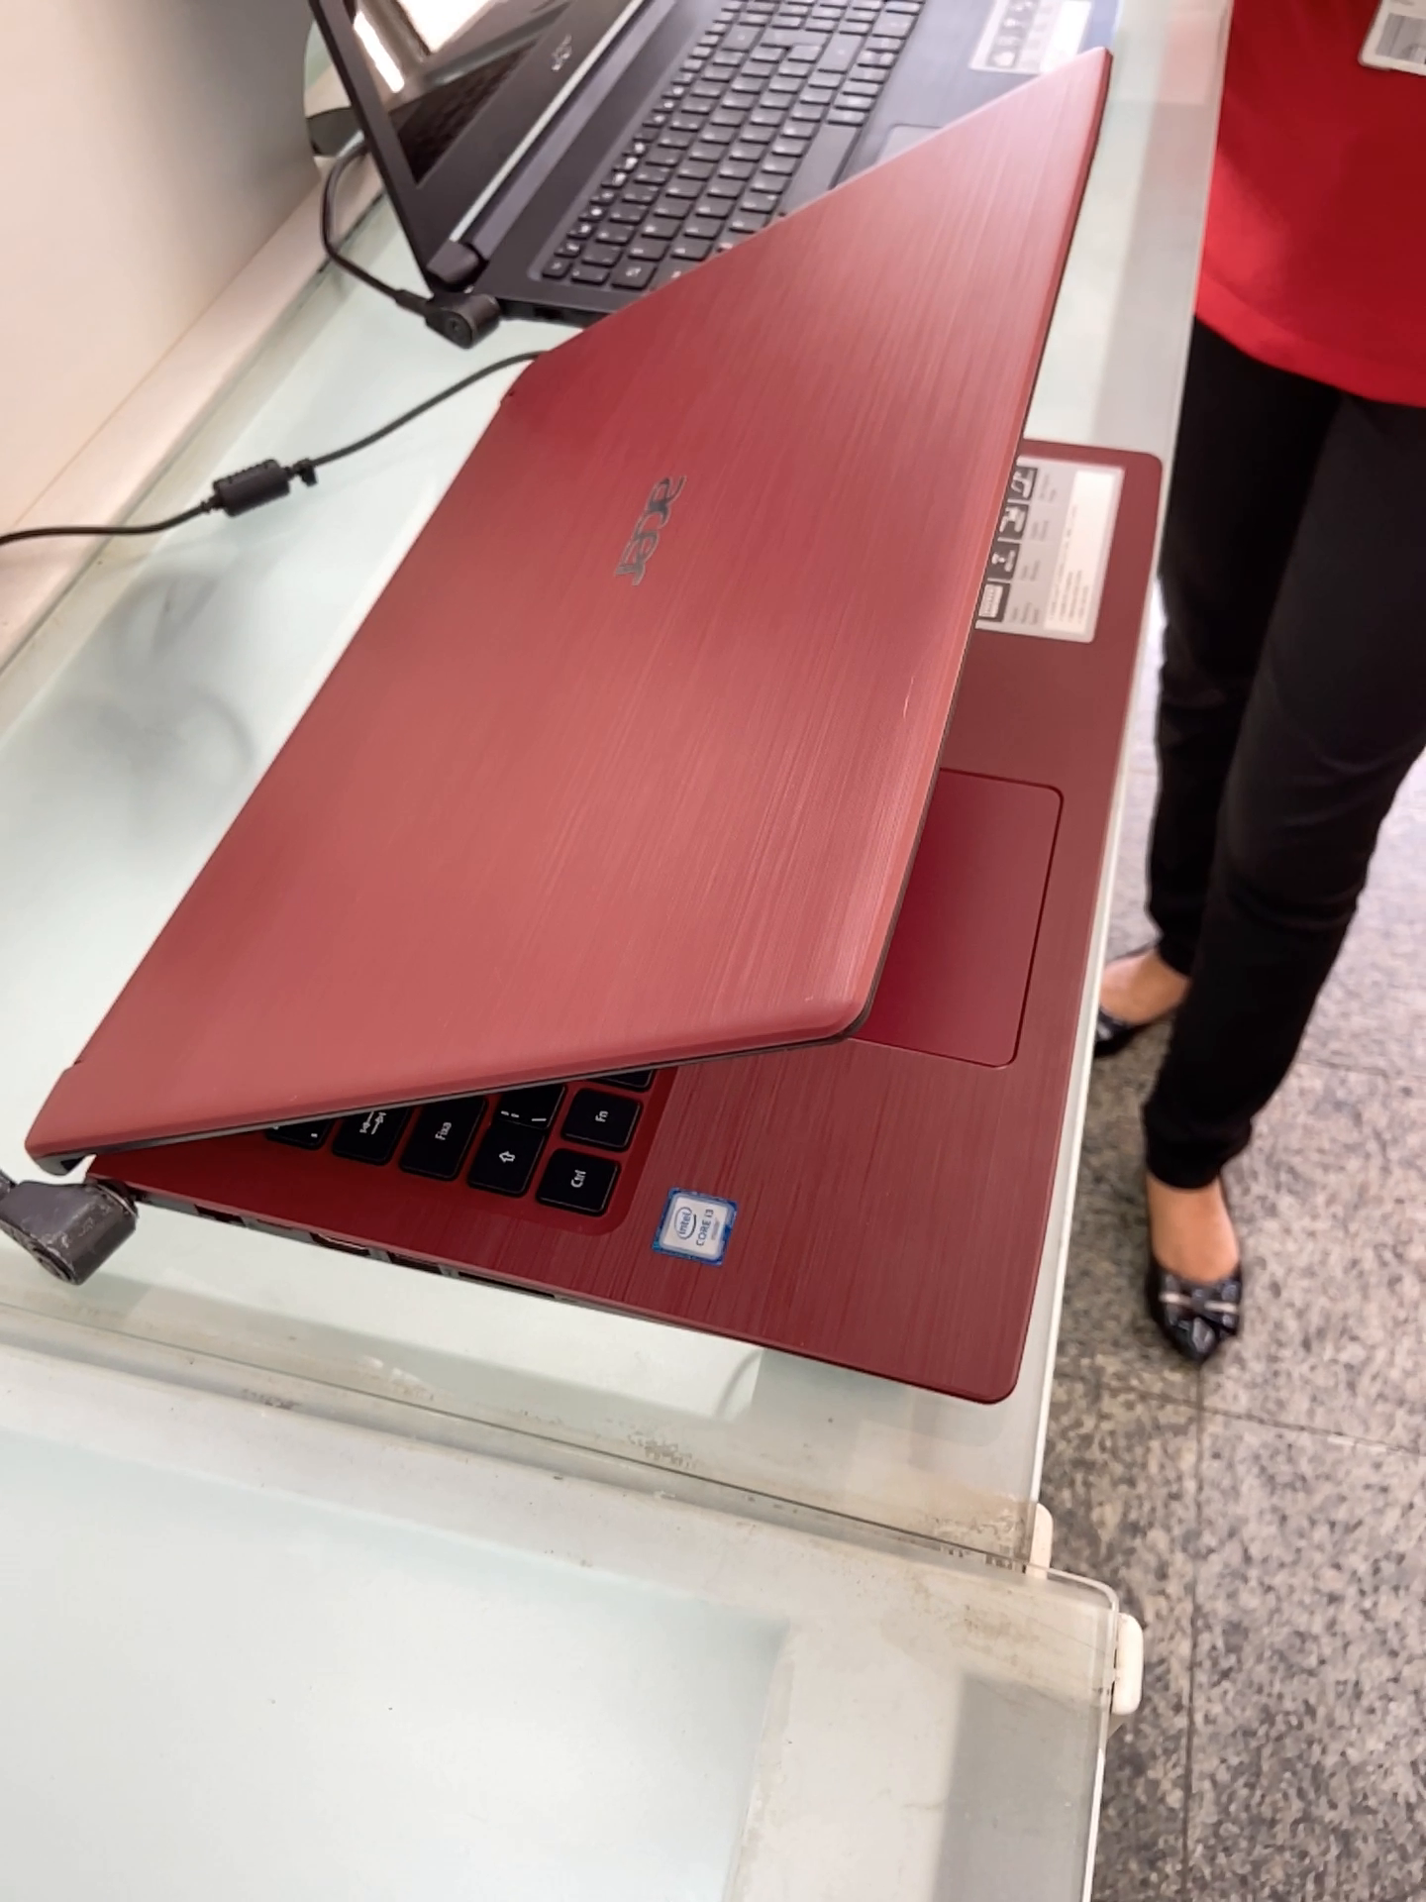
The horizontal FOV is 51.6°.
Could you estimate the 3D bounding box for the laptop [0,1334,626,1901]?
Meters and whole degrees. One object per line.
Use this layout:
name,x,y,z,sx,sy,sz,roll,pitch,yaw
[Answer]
laptop,-0.244,0.271,0.068,0.377,0.216,0.355,11,51,11

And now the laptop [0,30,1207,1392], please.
laptop,-0.004,-0.107,0.420,0.236,0.132,0.381,10,53,11
